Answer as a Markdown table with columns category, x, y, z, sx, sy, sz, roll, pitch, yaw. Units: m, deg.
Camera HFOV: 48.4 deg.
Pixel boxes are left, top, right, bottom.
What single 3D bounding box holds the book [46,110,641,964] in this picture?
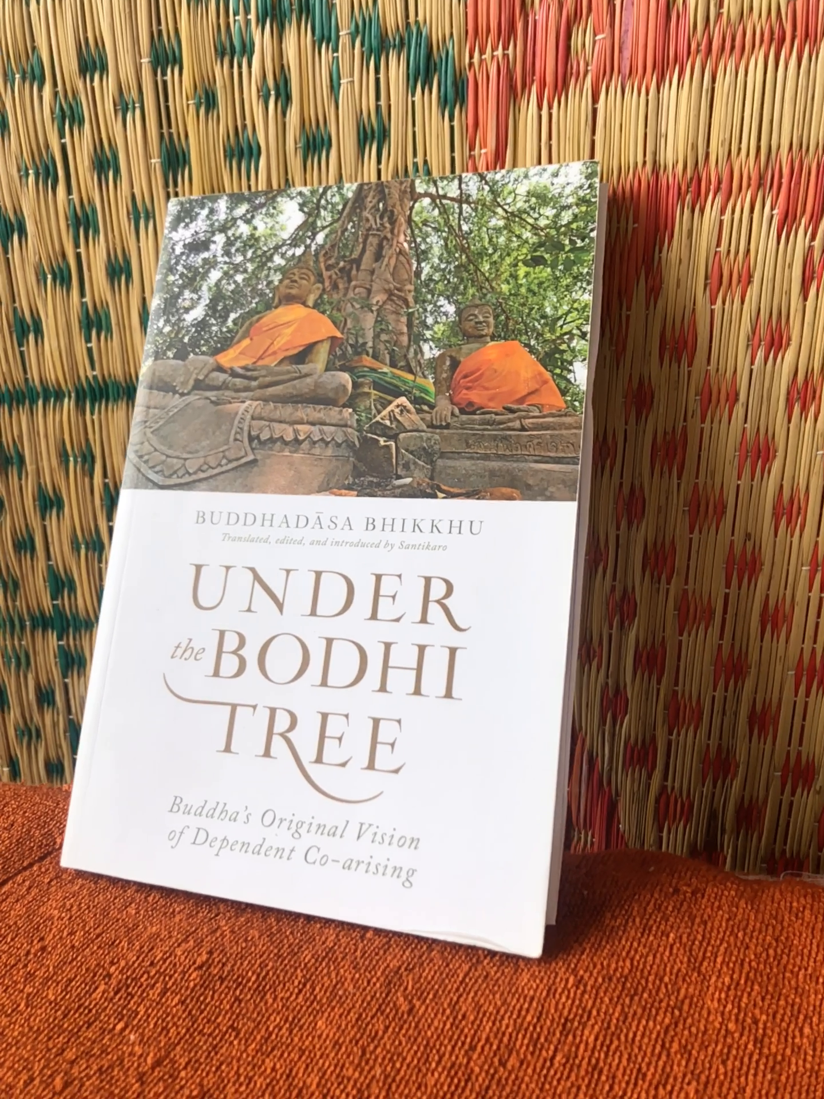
| category | x | y | z | sx | sy | sz | roll | pitch | yaw |
| --- | --- | --- | --- | --- | --- | --- | --- | --- | --- |
| book | -0.018 | -0.013 | 0.282 | 0.160 | 0.231 | 0.030 | 2 | -10 | 18 |
